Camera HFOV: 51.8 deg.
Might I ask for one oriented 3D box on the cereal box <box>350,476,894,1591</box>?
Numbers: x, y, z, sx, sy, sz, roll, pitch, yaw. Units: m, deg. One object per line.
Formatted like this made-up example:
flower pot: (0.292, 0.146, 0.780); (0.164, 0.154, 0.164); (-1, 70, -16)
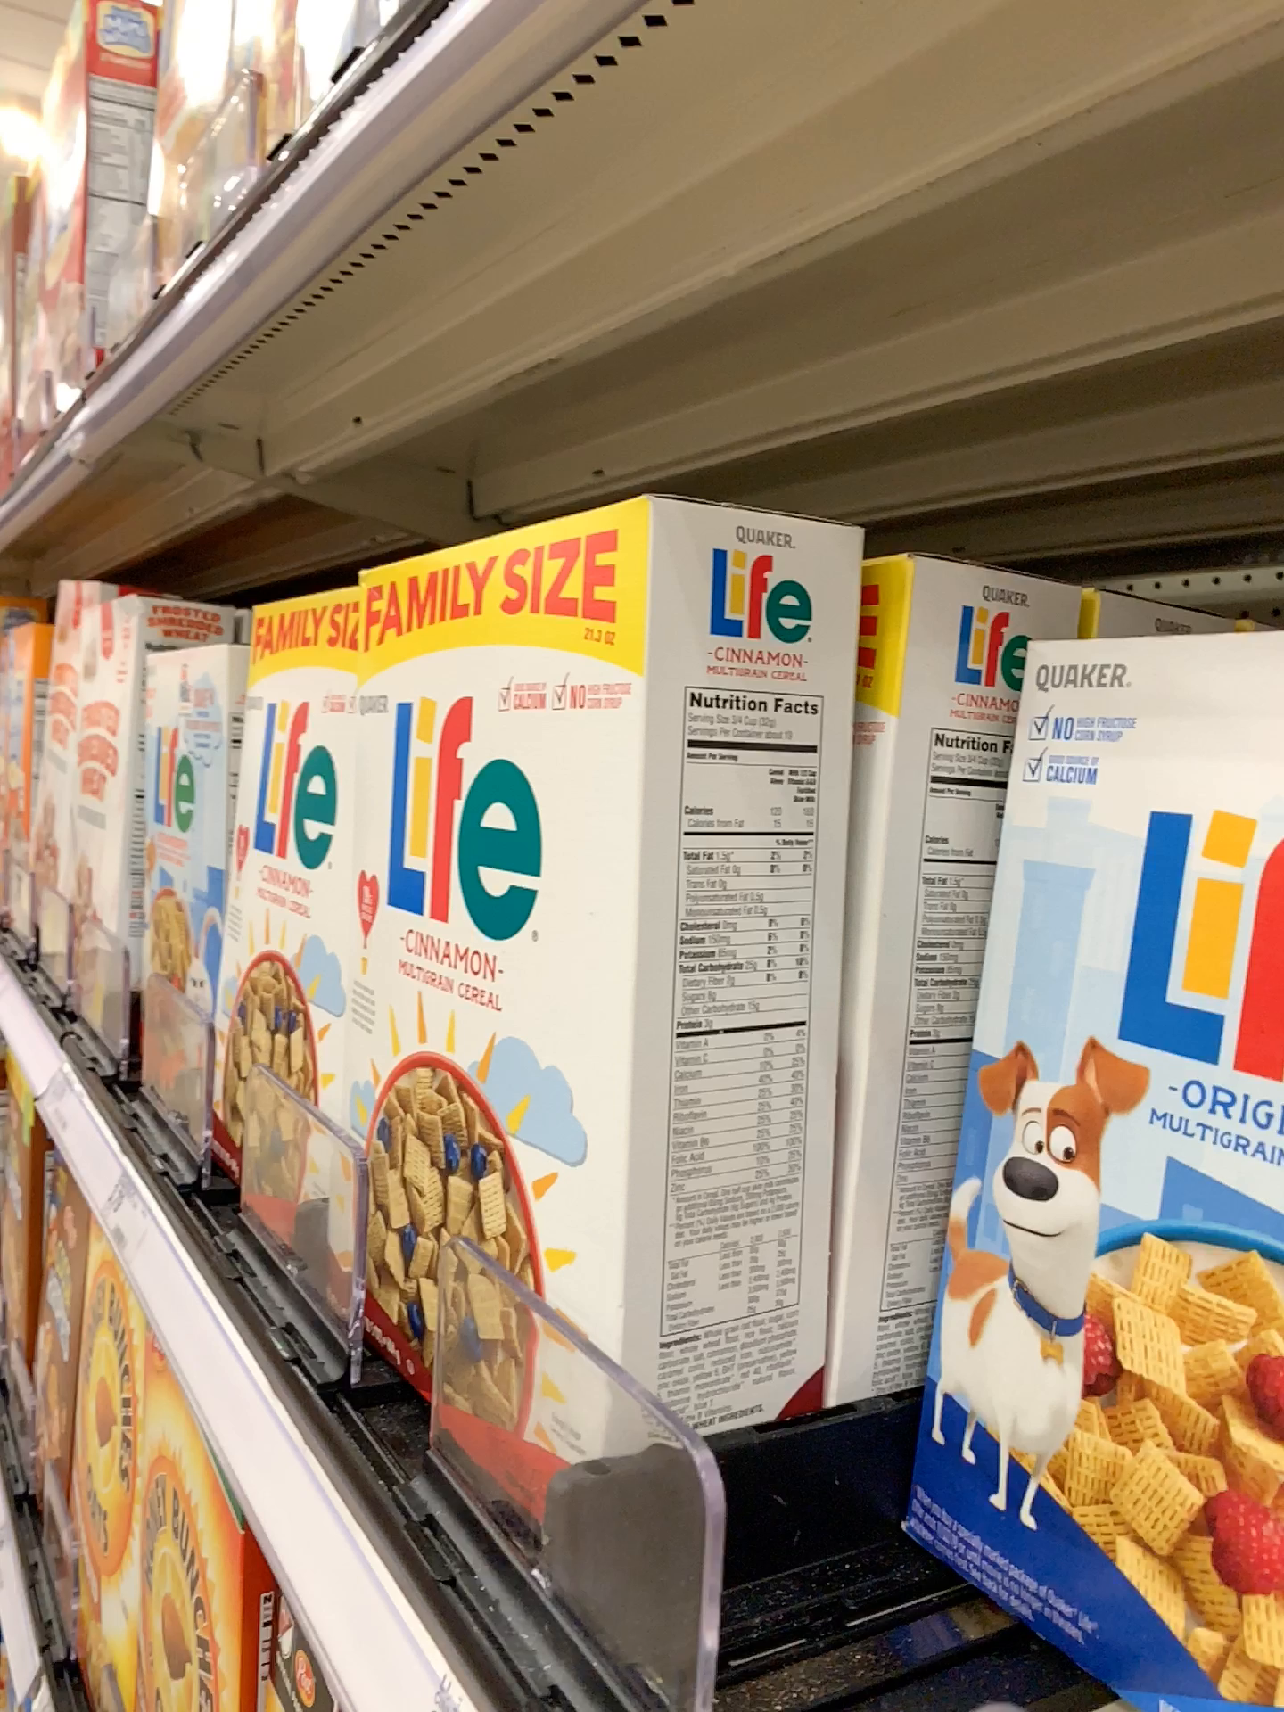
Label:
cereal box: (-0.021, 0.037, 0.405); (0.070, 0.260, 0.190); (2, 3, -29)
